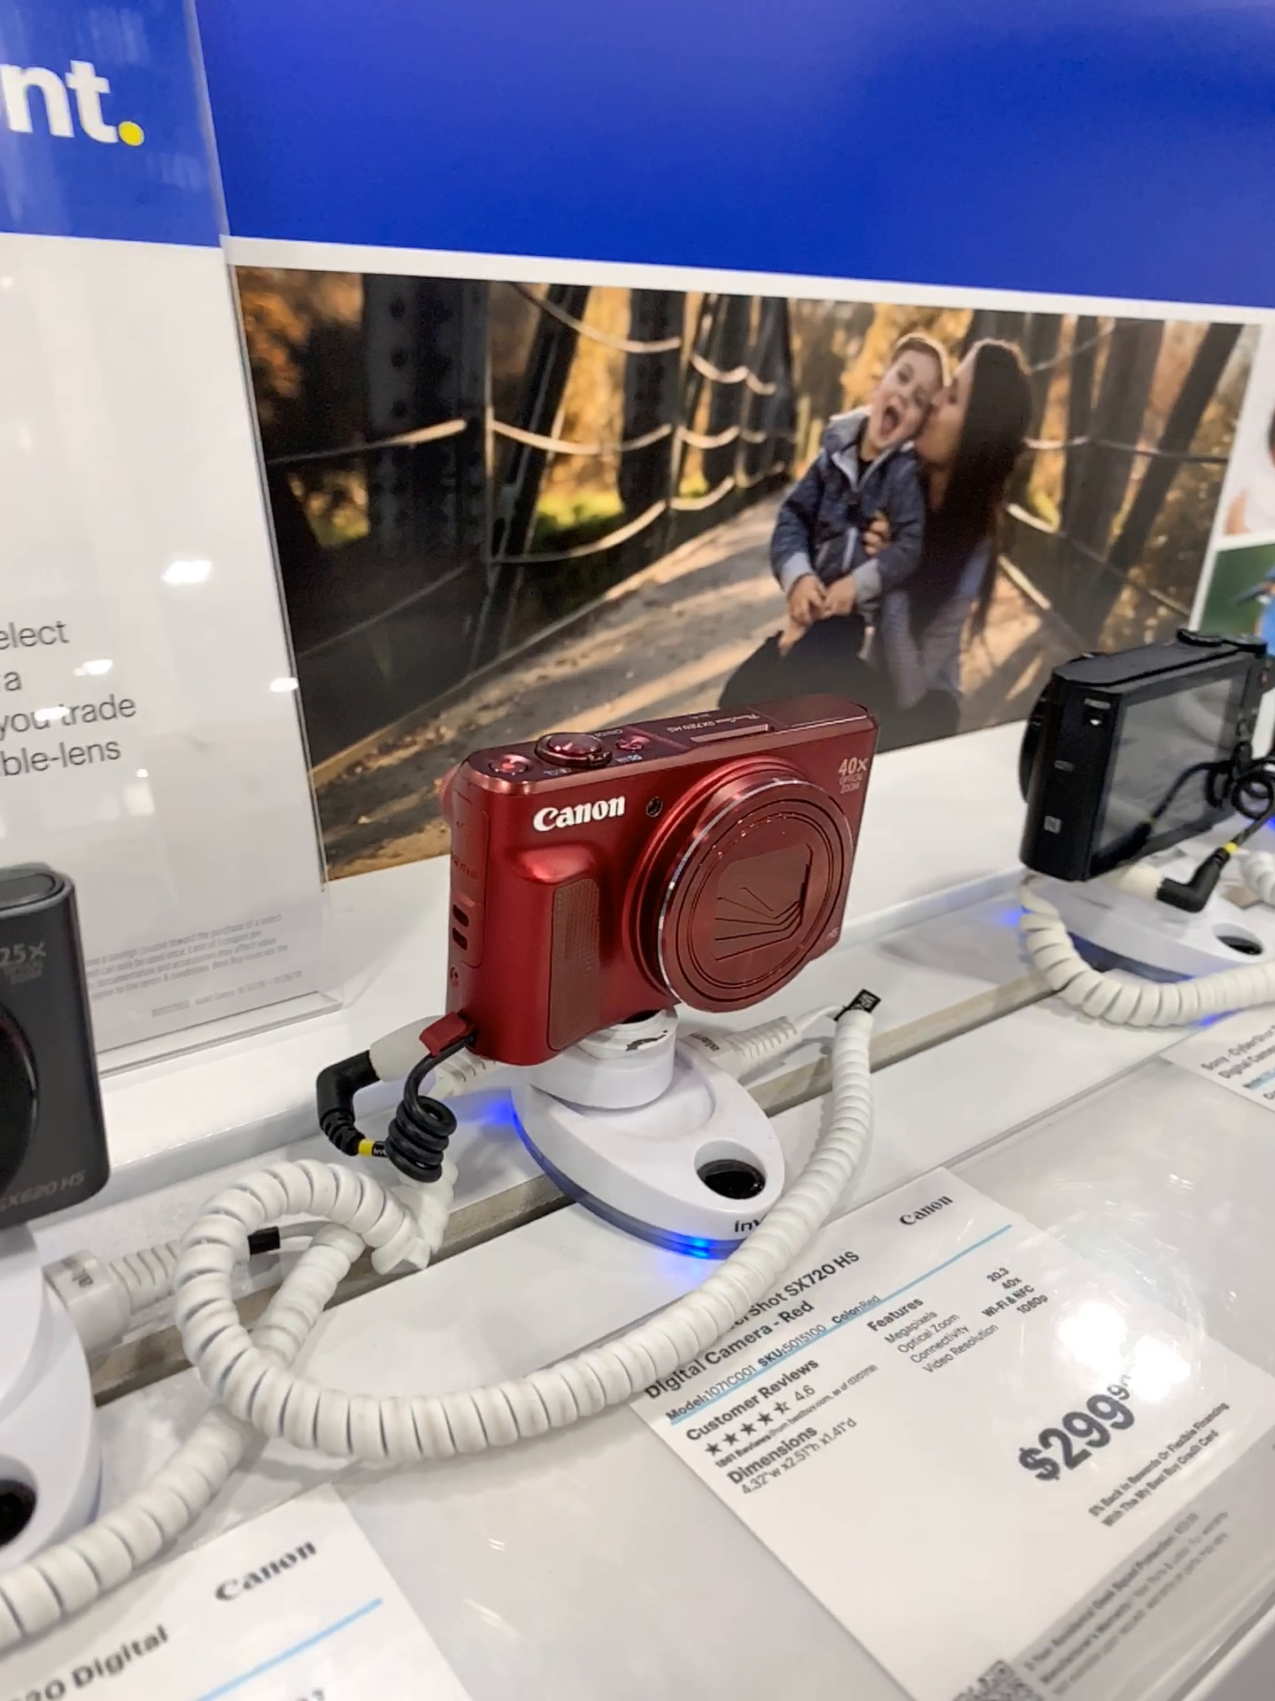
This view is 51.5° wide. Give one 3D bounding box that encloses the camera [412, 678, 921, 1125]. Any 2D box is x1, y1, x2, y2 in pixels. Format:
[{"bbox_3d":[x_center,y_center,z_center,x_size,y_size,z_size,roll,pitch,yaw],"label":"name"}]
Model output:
[{"bbox_3d":[0.007,0.007,0.291,0.110,0.070,0.030,-13,31,-33],"label":"camera"}]
